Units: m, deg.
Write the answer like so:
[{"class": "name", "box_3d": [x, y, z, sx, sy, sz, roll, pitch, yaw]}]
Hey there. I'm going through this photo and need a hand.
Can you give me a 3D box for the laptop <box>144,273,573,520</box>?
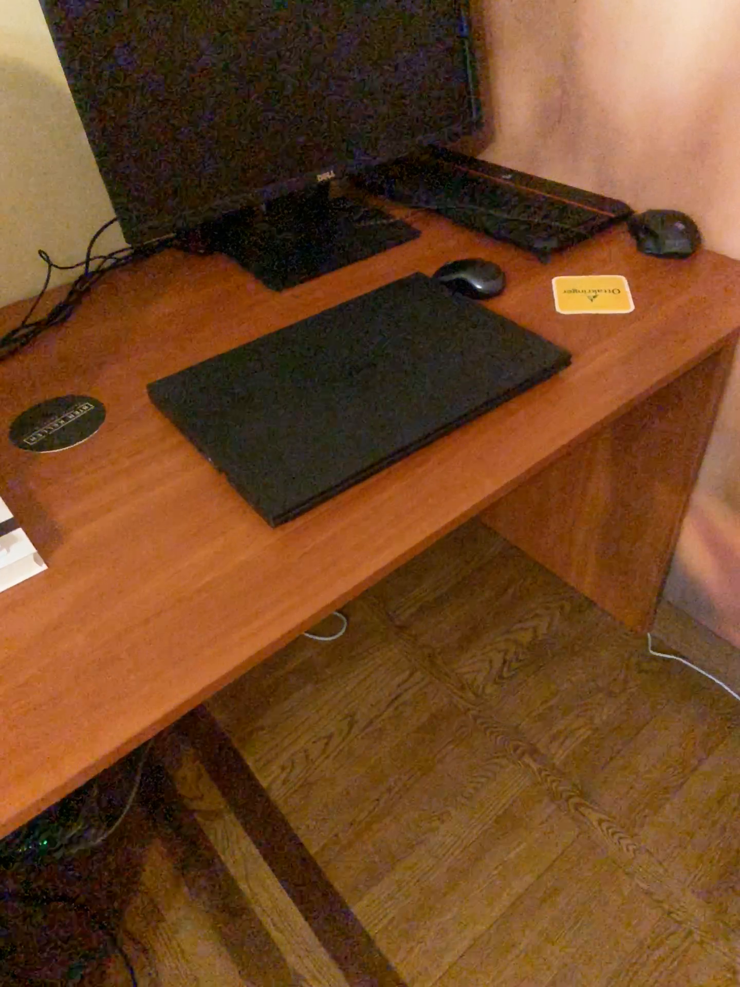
[{"class": "laptop", "box_3d": [-0.013, -0.121, 0.741, 0.352, 0.001, 0.248, -29, 47, -25]}]
